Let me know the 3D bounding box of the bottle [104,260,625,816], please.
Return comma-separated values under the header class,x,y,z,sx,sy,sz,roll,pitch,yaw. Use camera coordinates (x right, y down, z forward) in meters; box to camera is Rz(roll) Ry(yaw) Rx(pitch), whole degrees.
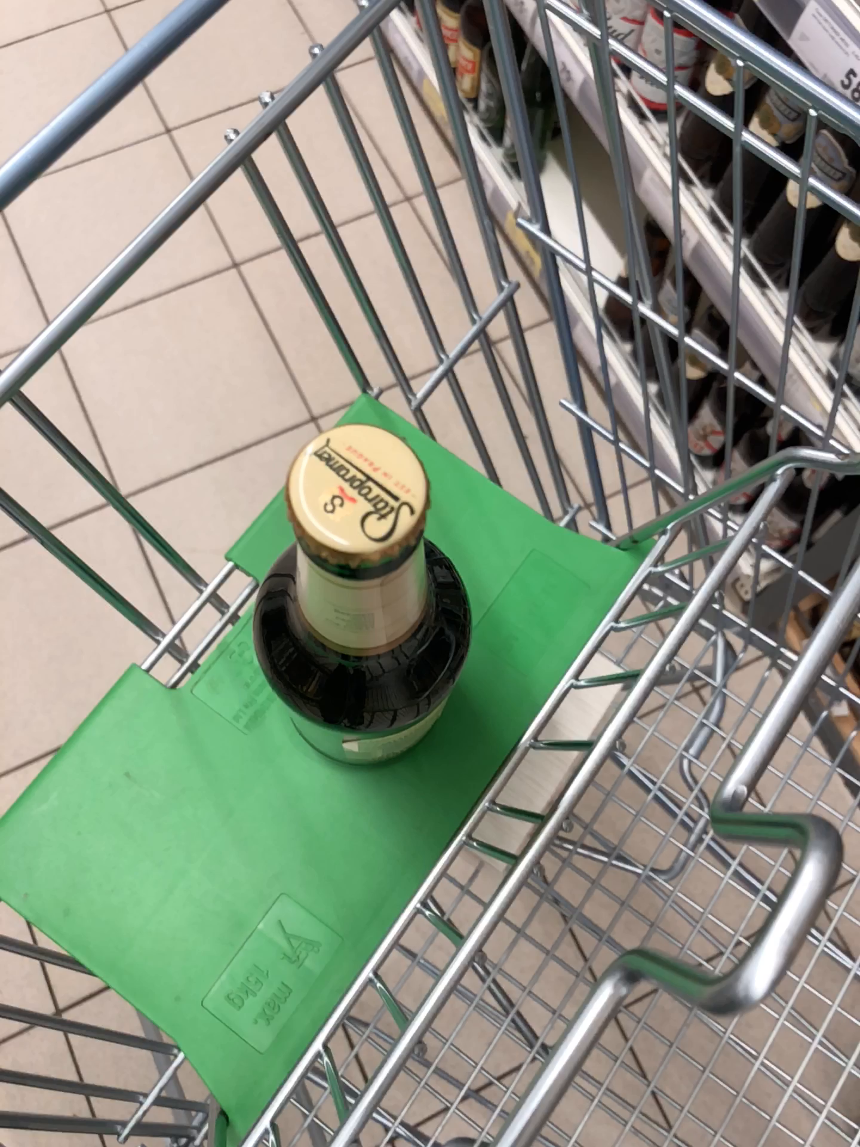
class,x,y,z,sx,sy,sz,roll,pitch,yaw
bottle,-0.018,0.018,0.295,0.070,0.240,0.070,1,73,-3
